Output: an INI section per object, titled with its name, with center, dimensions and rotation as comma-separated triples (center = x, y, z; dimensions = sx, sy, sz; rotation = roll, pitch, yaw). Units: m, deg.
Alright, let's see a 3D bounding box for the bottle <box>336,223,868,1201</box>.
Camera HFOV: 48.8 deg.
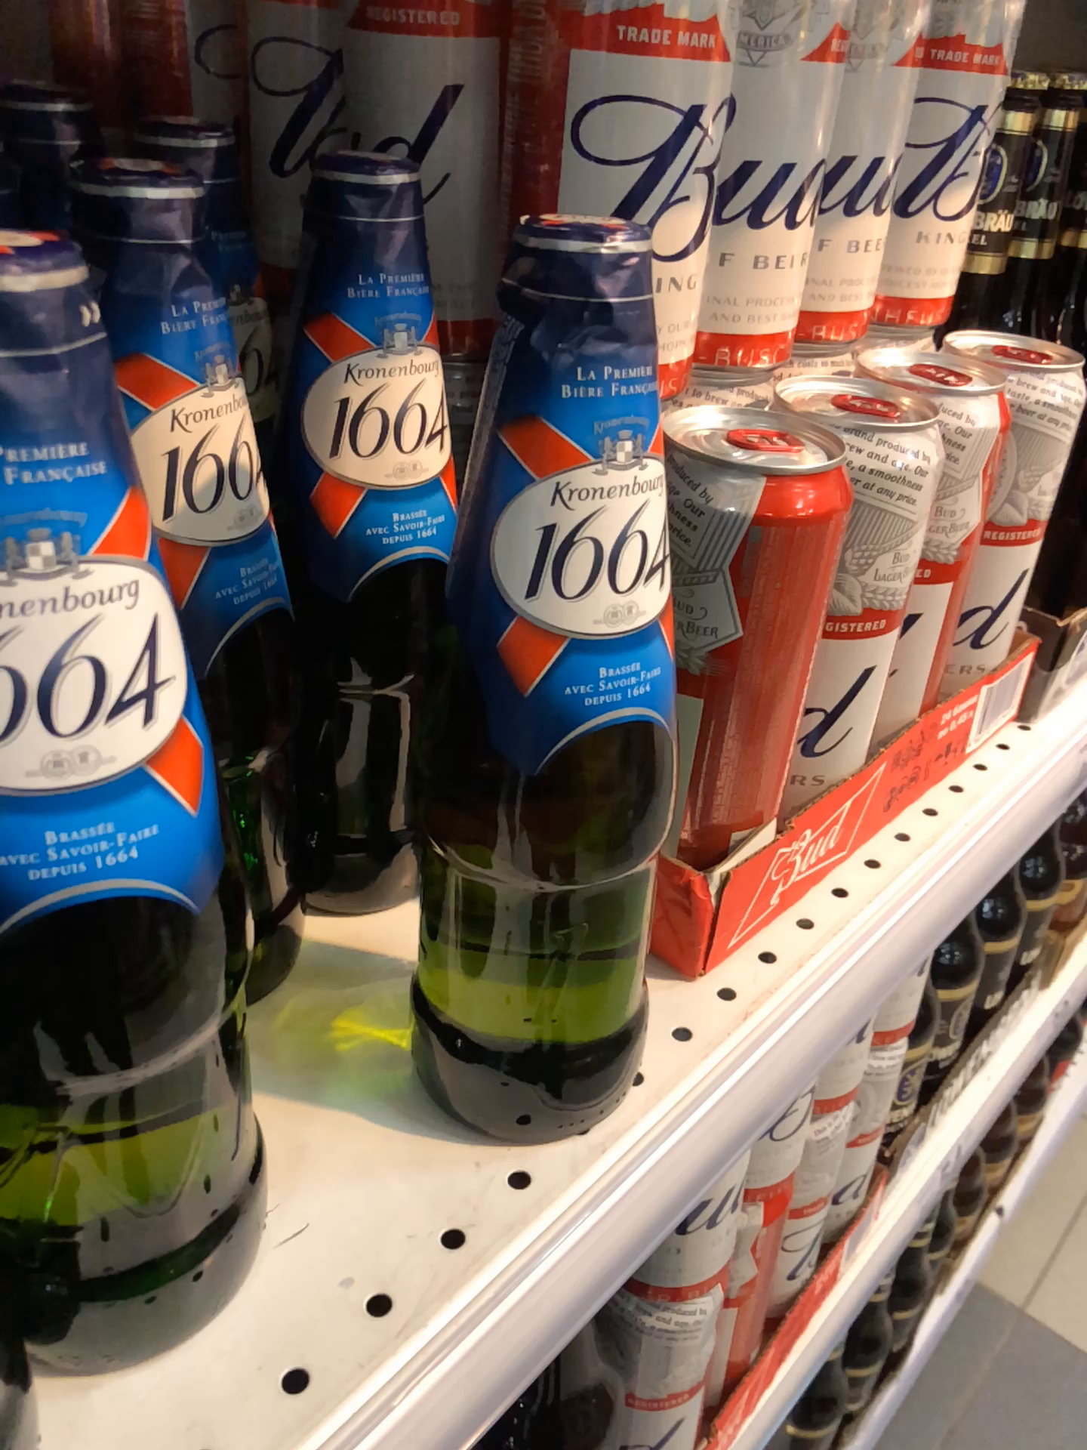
[bottle]
center = 0.000, 0.000, 0.296
dimensions = 0.080, 0.219, 0.080
rotation = 4, 30, -2
